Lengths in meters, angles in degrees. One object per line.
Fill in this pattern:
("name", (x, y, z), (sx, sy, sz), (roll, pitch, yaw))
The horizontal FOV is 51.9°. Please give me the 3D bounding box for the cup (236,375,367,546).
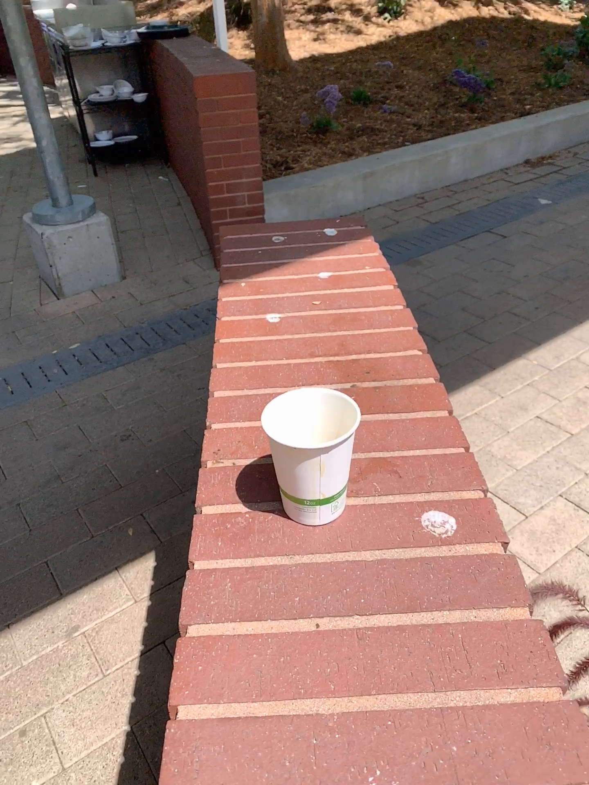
("cup", (0.006, 0.063, 0.579), (0.090, 0.109, 0.091), (-2, 36, 1))
